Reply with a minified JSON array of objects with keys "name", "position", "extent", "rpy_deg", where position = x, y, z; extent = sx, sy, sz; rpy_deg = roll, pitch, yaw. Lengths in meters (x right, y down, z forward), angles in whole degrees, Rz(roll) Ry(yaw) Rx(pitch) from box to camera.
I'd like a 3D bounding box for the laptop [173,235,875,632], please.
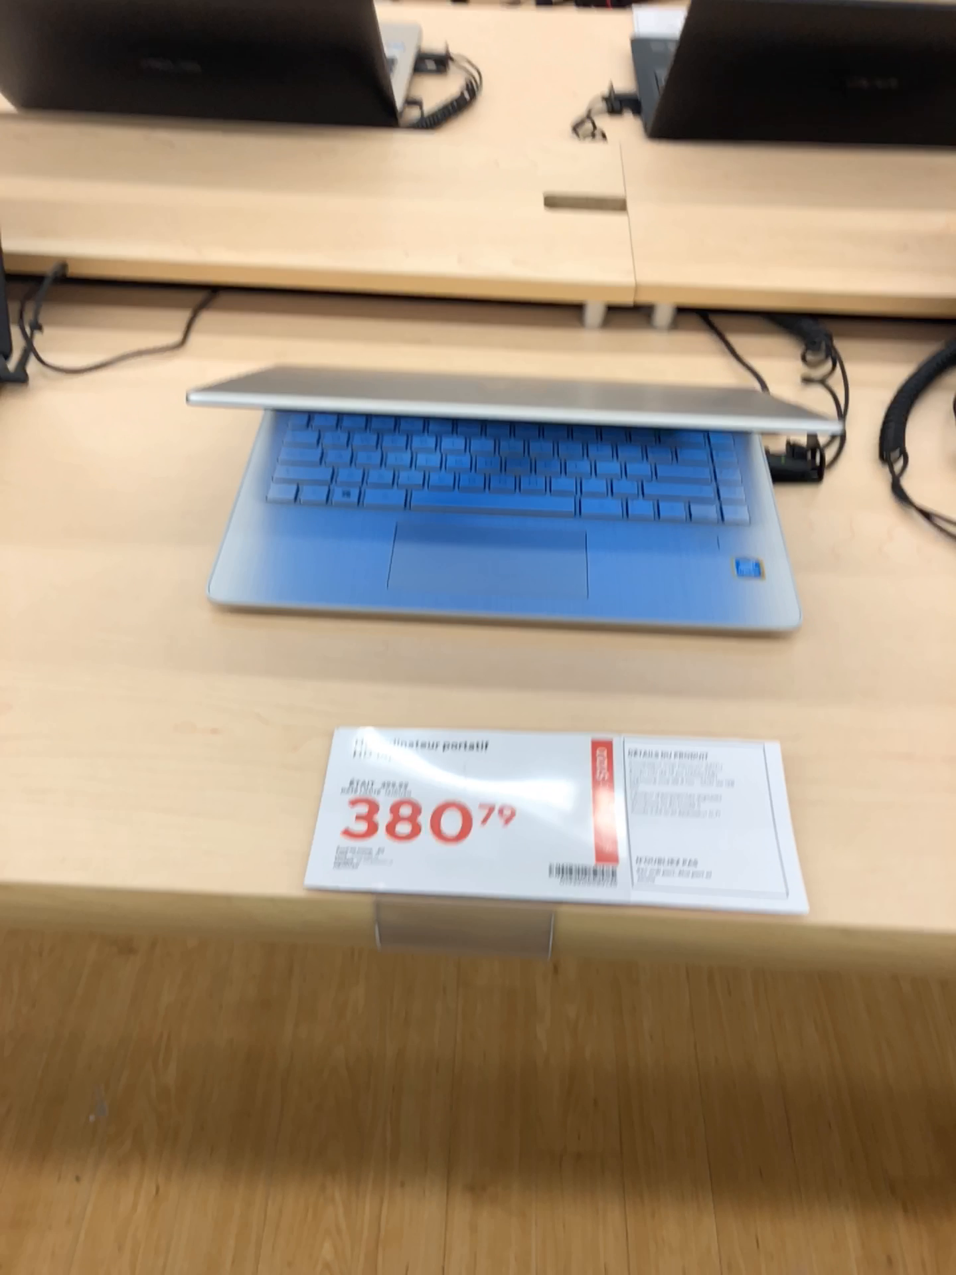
[{"name":"laptop","position":[0.013,-0.127,0.589],"extent":[0.318,0.104,0.217],"rpy_deg":[3,44,7]}]
